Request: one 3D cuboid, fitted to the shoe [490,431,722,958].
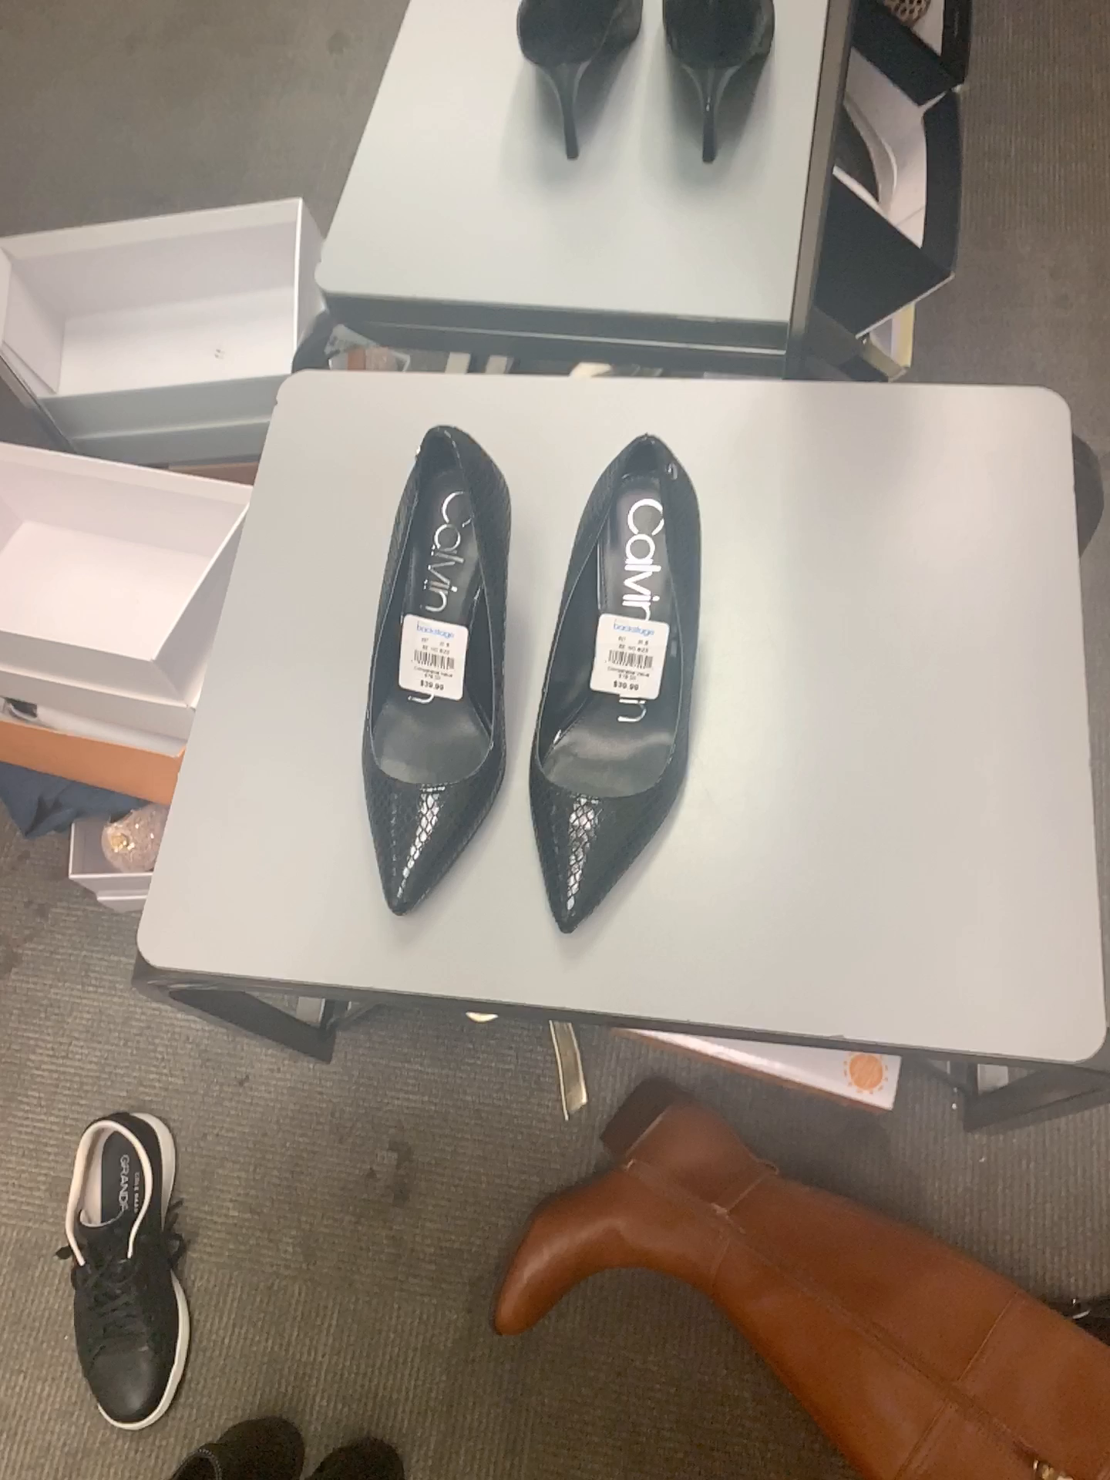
[{"bbox_3d":[0.033,-0.027,0.582,0.080,0.084,0.254,5,68,9],"label":"shoe"}]

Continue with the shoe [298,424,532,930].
[{"bbox_3d":[-0.065,-0.036,0.598,0.080,0.085,0.254,0,67,7],"label":"shoe"}]
